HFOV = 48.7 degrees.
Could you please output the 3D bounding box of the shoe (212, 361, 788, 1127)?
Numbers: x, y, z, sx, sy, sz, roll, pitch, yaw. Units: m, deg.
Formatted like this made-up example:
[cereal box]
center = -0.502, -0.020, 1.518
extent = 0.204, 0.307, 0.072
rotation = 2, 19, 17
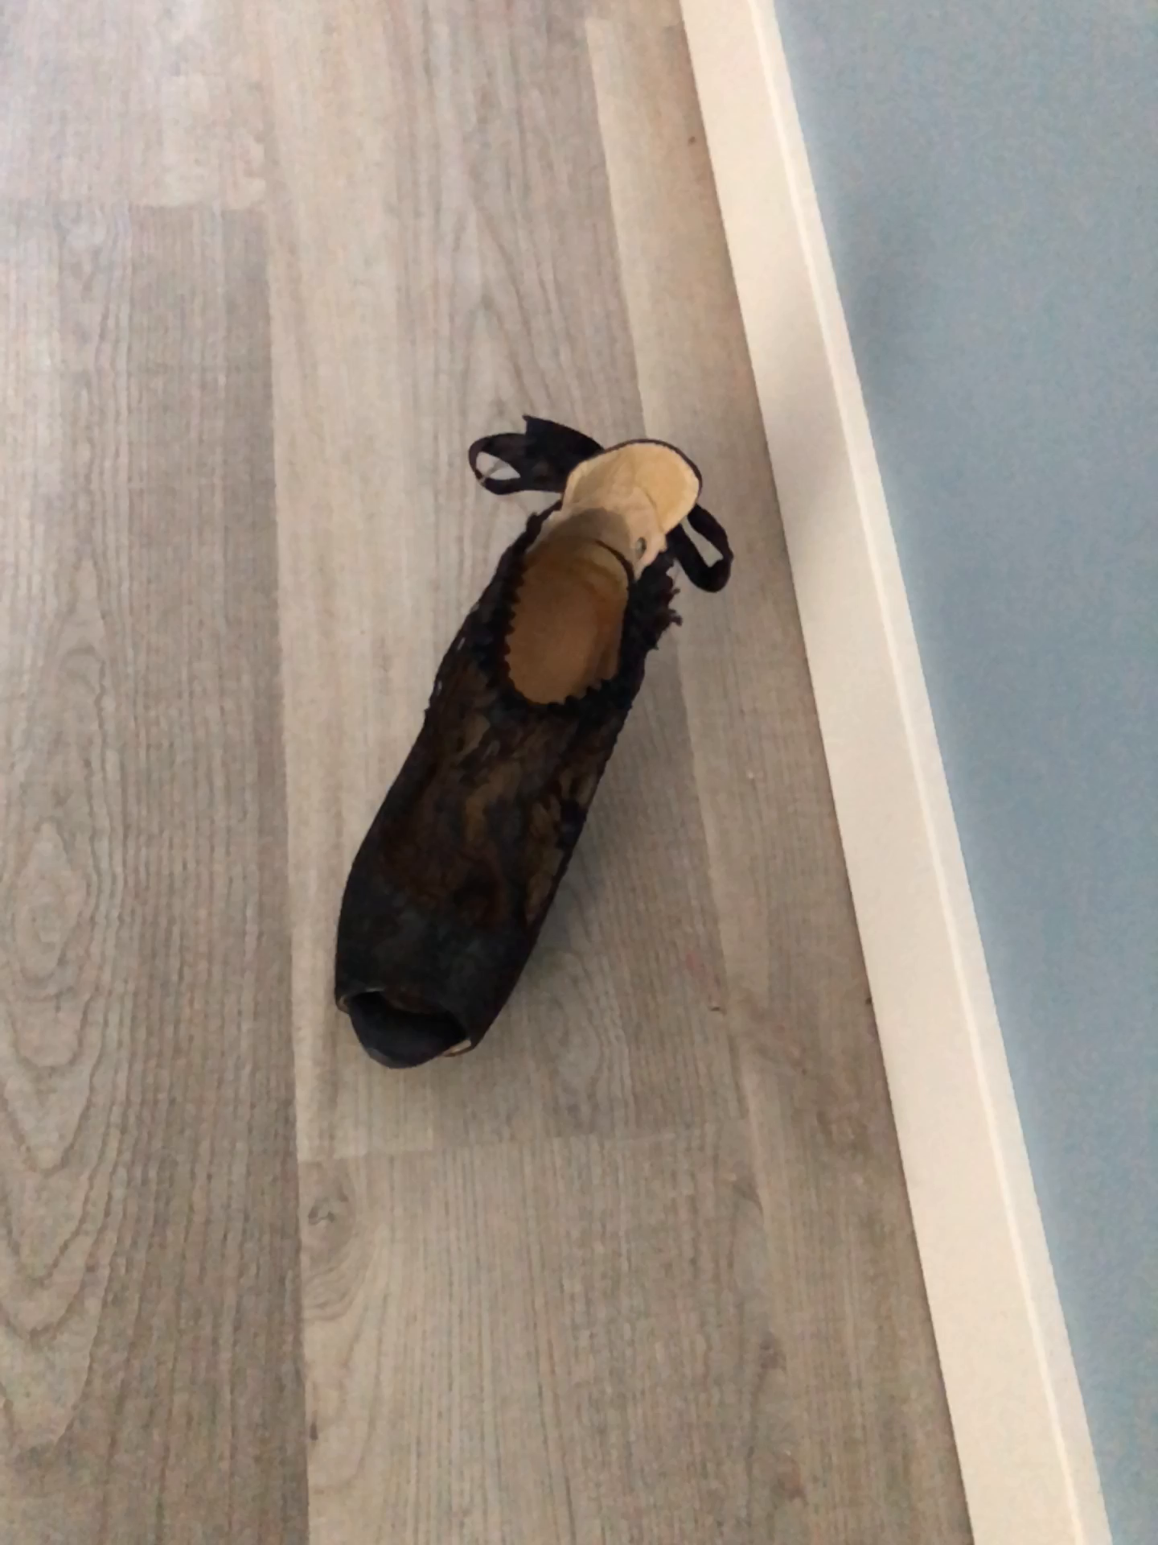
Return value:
[shoe]
center = -0.027, -0.005, 0.463
extent = 0.100, 0.140, 0.220
rotation = 25, 66, 0
